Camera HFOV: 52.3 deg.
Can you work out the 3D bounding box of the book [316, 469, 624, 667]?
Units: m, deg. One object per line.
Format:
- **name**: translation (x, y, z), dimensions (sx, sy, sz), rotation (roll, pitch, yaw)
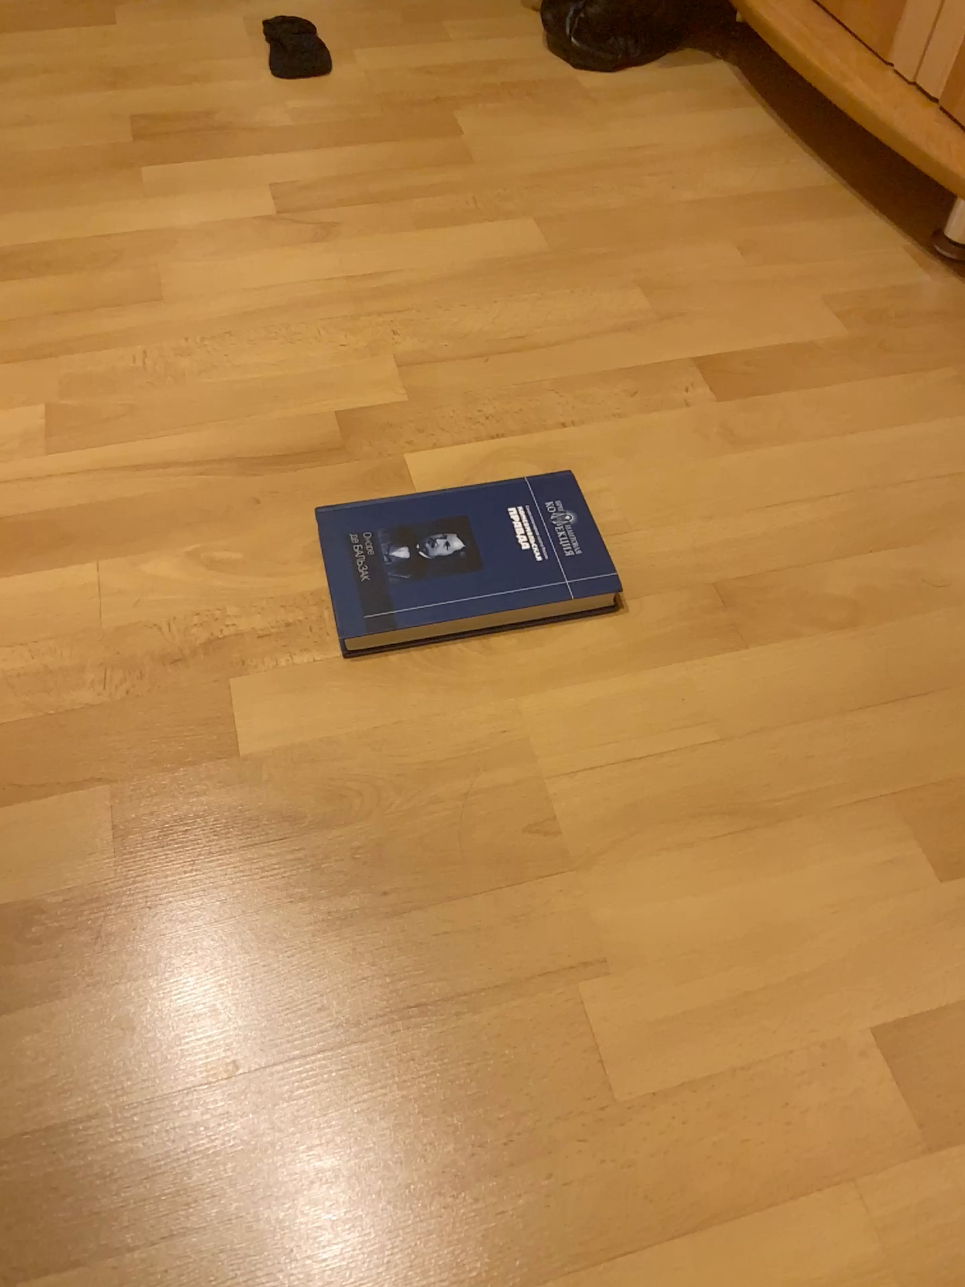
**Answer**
- **book**: translation (-0.013, -0.060, 0.725), dimensions (0.200, 0.030, 0.129), rotation (-10, 53, -9)
